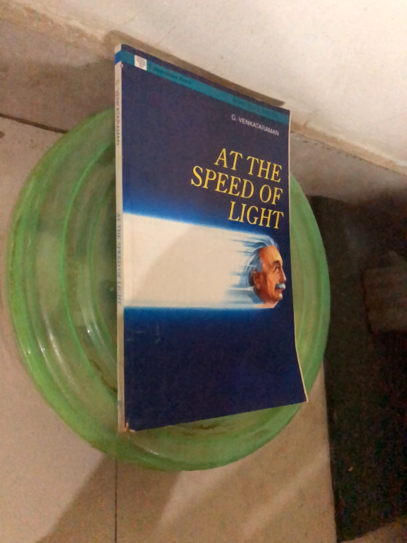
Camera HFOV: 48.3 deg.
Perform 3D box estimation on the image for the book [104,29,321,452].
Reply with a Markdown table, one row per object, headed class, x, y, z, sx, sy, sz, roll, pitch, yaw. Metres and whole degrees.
| class | x | y | z | sx | sy | sz | roll | pitch | yaw |
| --- | --- | --- | --- | --- | --- | --- | --- | --- | --- |
| book | 0.011 | -0.019 | 0.295 | 0.151 | 0.020 | 0.230 | 5 | 78 | -38 |
